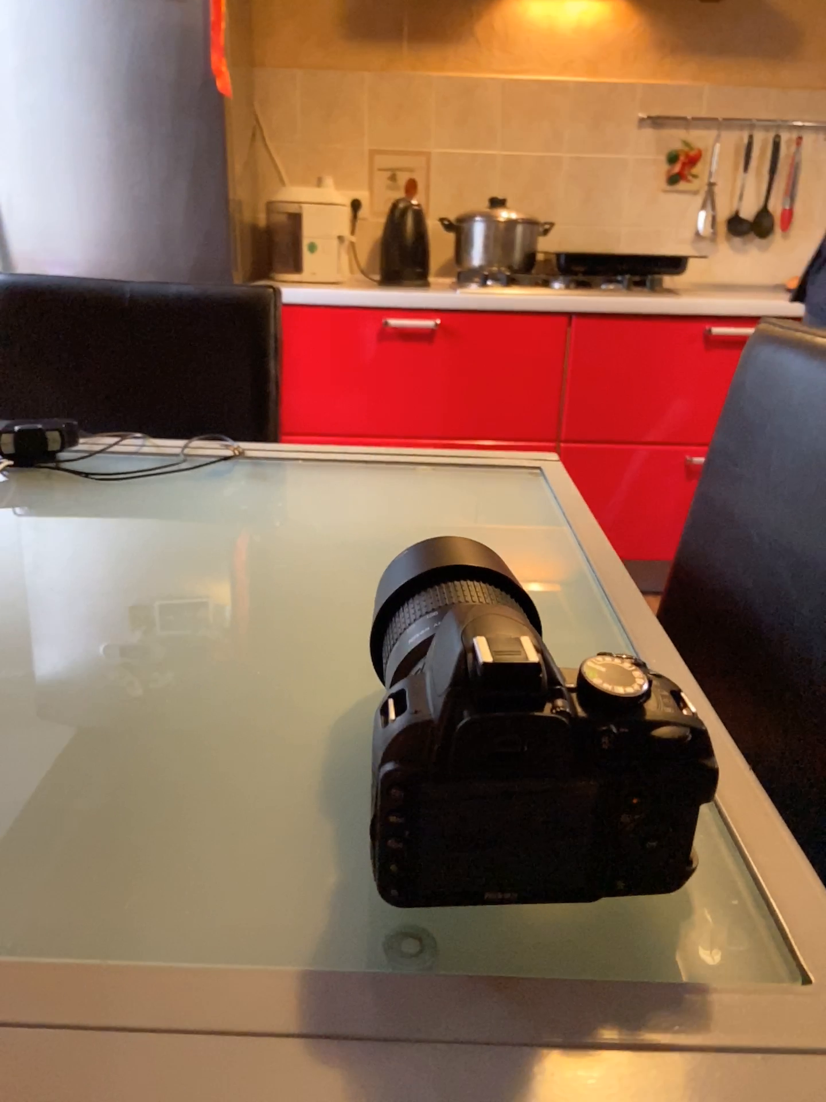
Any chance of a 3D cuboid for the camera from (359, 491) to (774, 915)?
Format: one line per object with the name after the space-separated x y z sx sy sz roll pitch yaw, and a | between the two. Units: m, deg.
0.045 0.049 0.396 0.134 0.099 0.209 0 20 -5 | camera
